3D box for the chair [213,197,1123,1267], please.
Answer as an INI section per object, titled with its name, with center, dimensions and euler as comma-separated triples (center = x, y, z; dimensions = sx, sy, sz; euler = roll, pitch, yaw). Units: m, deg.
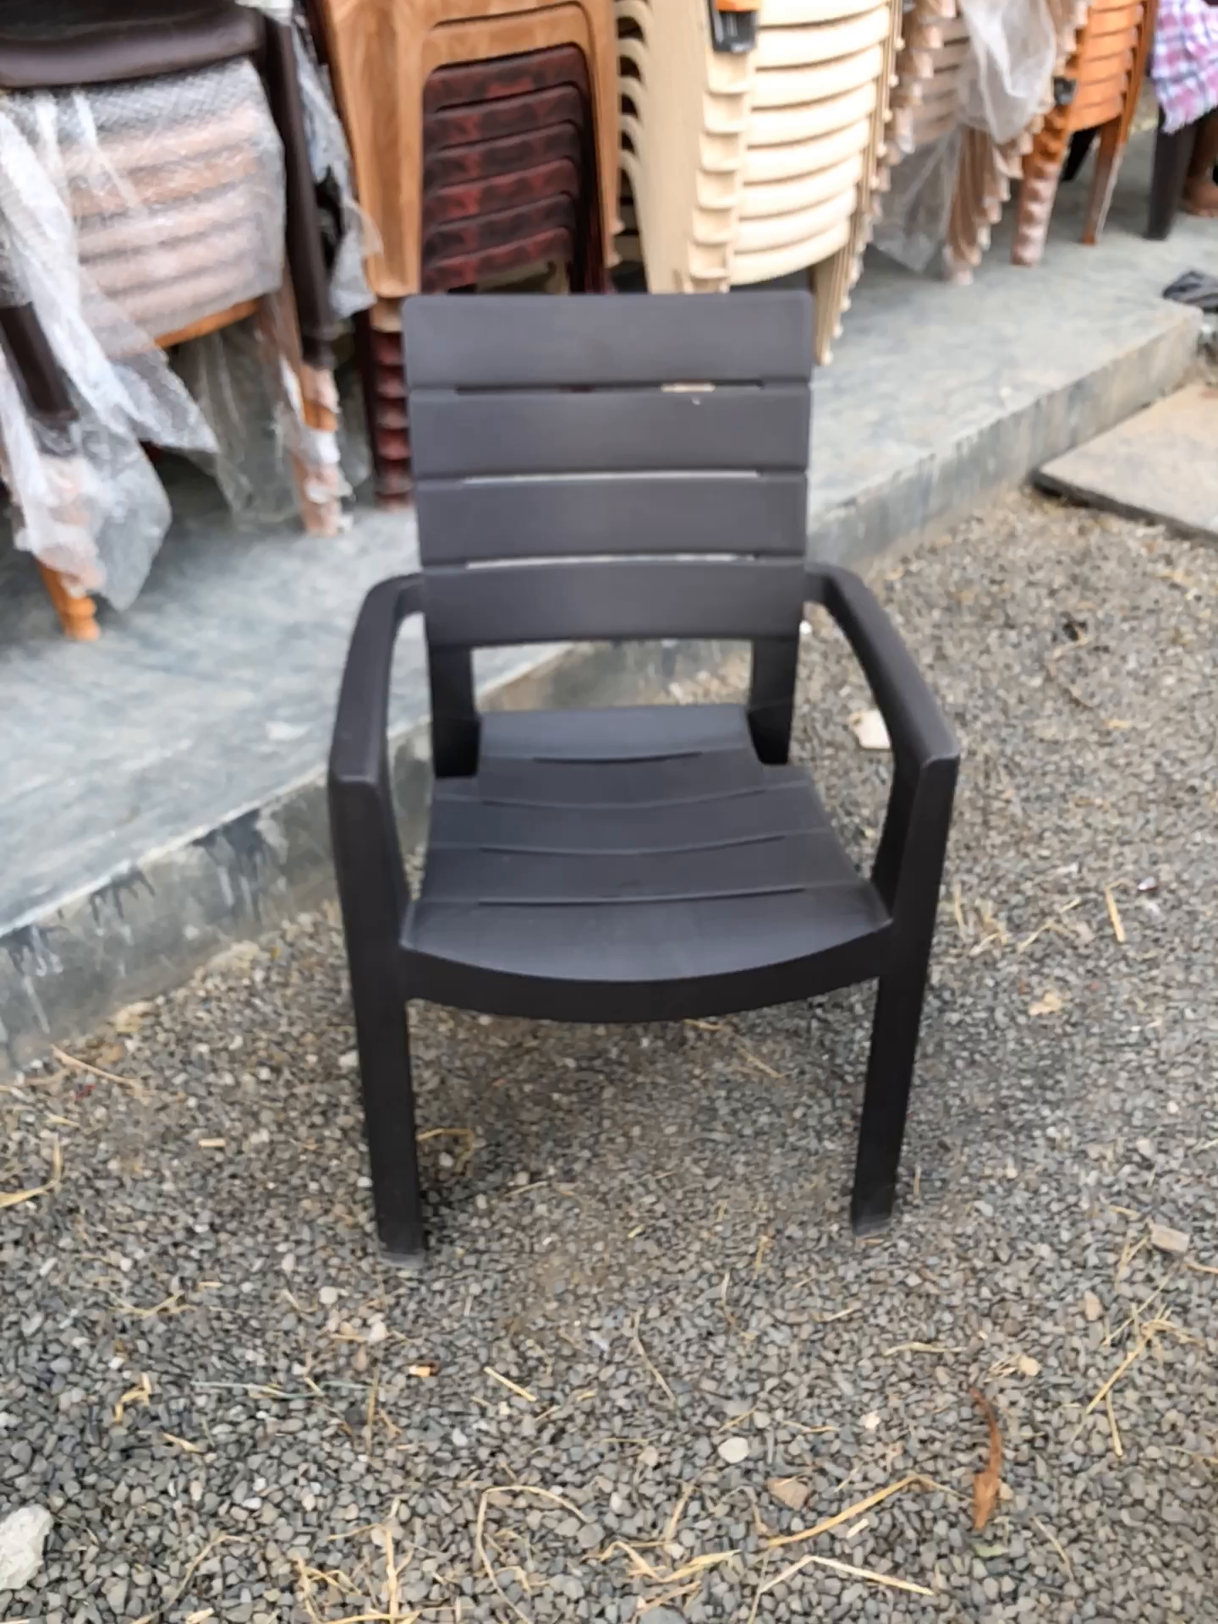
[chair]
center = 0.017, -0.096, 1.352
dimensions = 0.570, 0.796, 0.683
euler = -3, 38, -4
